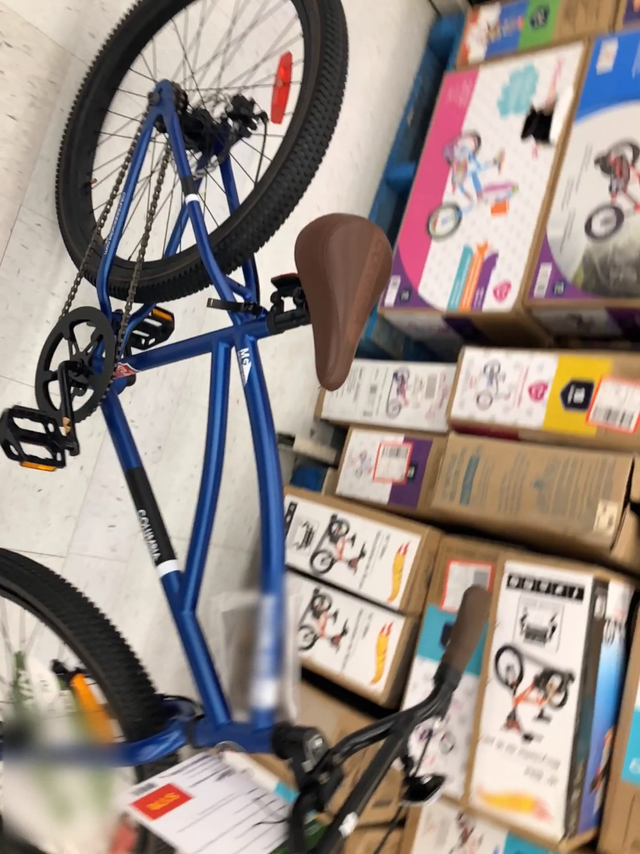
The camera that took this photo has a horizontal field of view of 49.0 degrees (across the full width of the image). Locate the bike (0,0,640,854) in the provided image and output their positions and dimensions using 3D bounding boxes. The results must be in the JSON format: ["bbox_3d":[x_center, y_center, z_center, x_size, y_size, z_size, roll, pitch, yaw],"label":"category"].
[{"bbox_3d":[-0.131,0.021,1.048,0.652,0.928,1.552,13,88,-49],"label":"bike"}]
